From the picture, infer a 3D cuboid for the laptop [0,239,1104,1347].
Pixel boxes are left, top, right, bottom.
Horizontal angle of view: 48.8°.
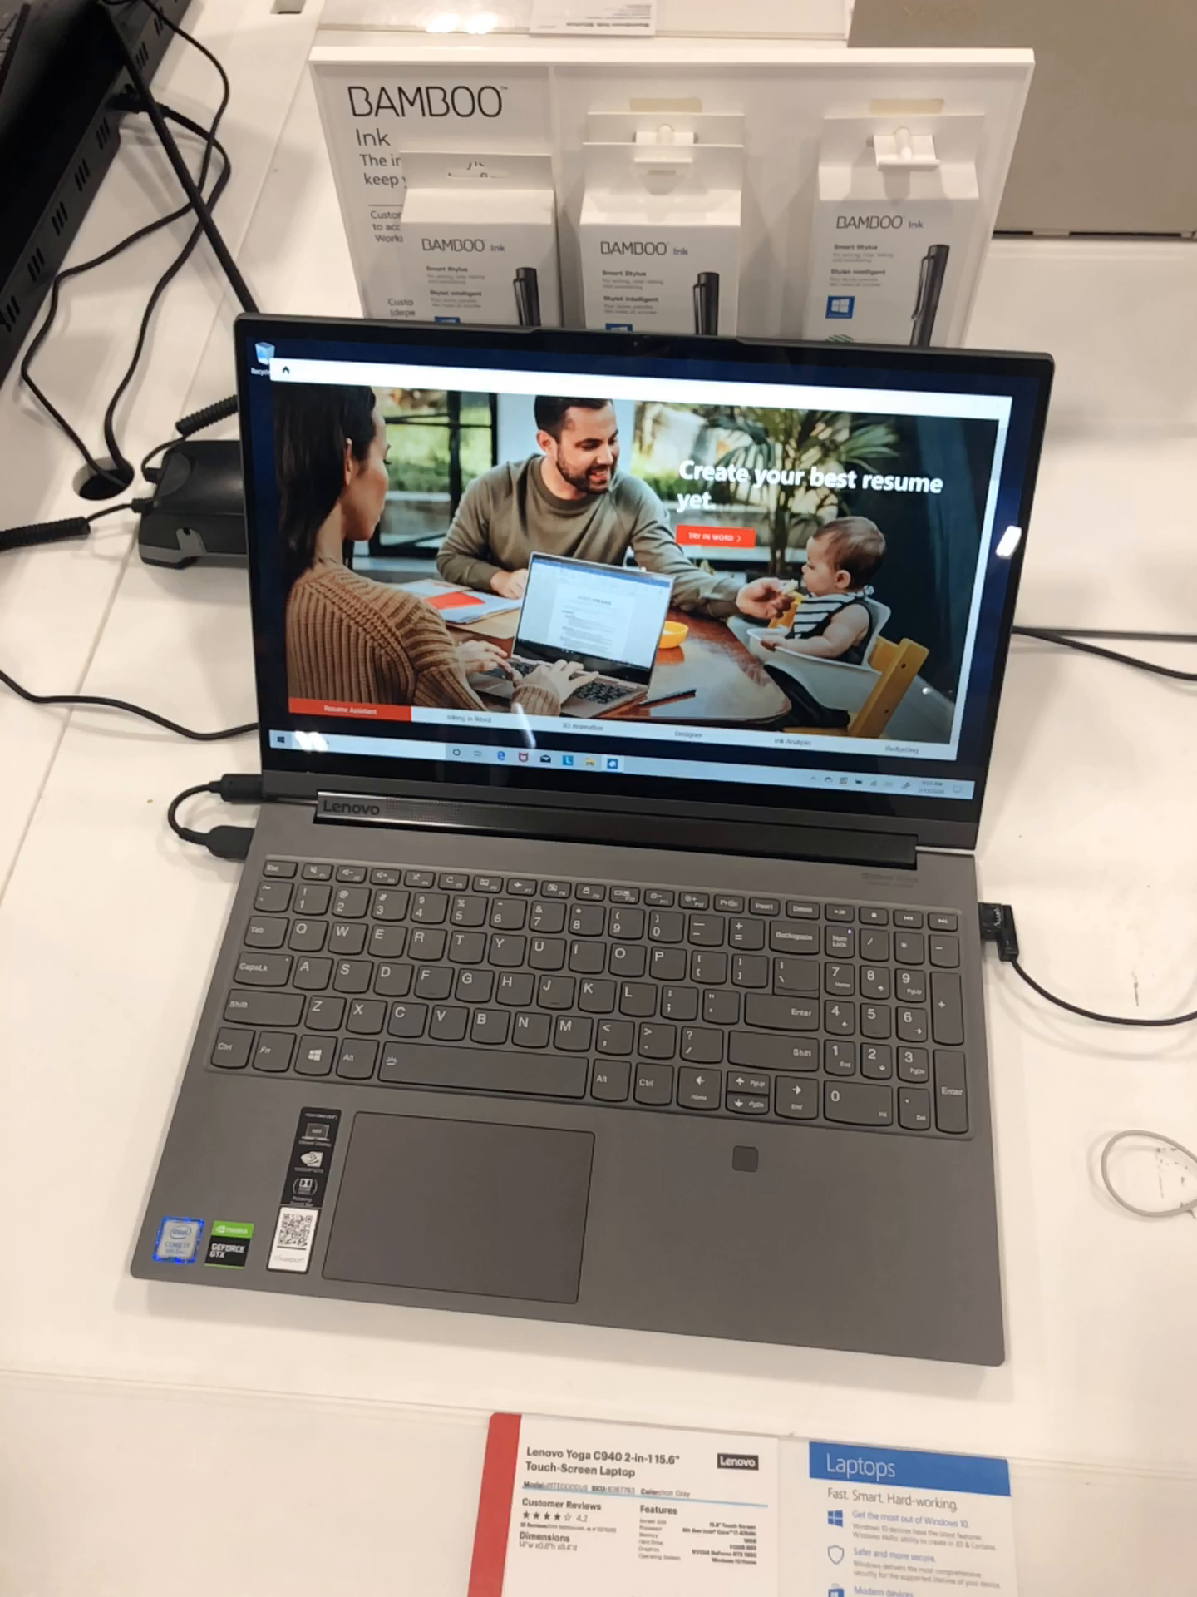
[{"bbox_3d":[-0.002,-0.010,0.546,0.336,0.169,0.375,4,64,4],"label":"laptop"}]
